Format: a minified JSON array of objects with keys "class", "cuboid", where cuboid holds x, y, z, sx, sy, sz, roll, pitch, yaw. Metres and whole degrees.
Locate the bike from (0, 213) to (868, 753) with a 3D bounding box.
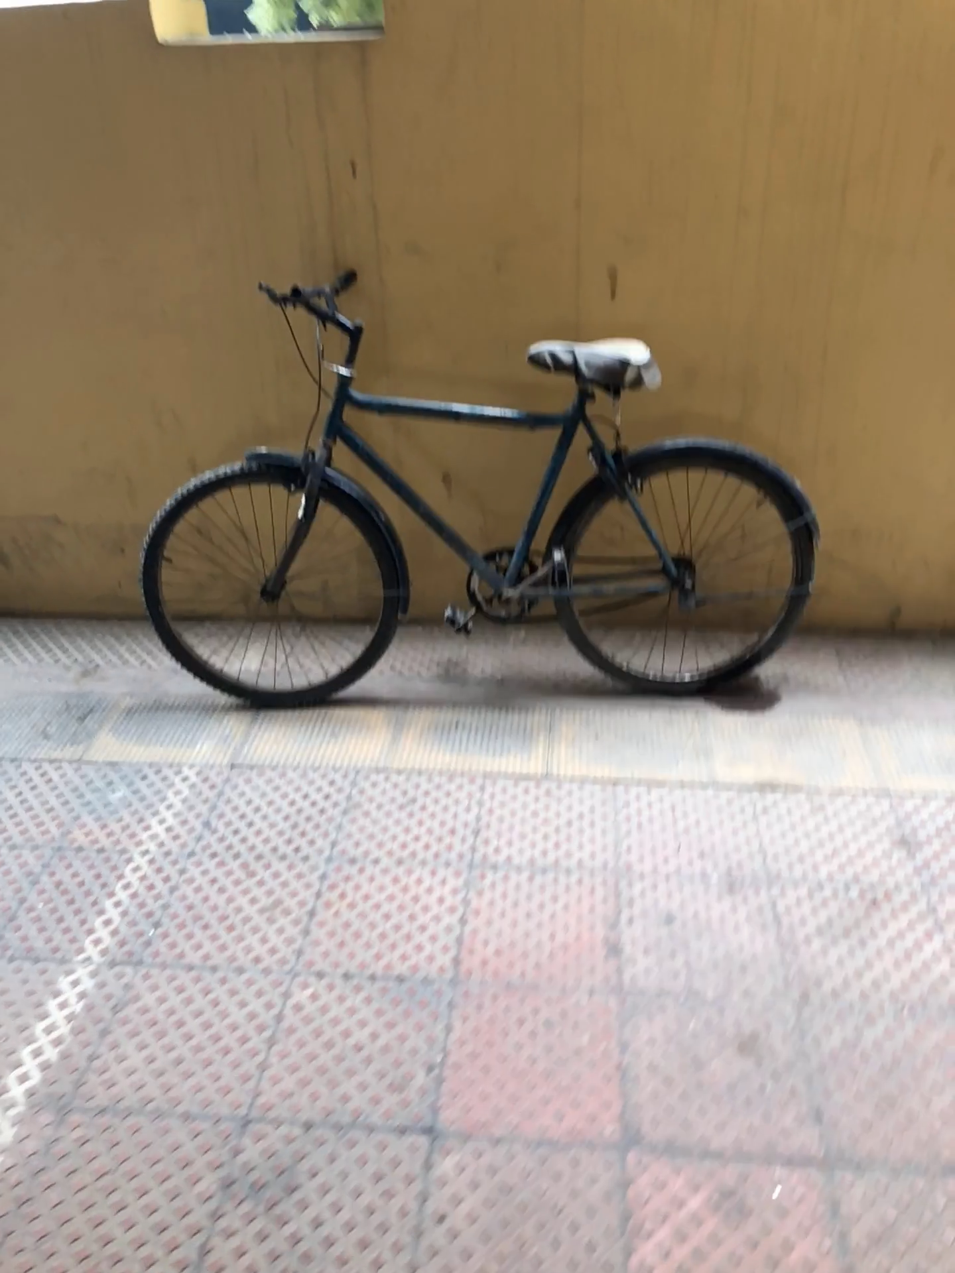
[{"class":"bike","cuboid":[-0.035,-0.325,2.285,1.545,0.998,0.544,0,30,-1]}]
